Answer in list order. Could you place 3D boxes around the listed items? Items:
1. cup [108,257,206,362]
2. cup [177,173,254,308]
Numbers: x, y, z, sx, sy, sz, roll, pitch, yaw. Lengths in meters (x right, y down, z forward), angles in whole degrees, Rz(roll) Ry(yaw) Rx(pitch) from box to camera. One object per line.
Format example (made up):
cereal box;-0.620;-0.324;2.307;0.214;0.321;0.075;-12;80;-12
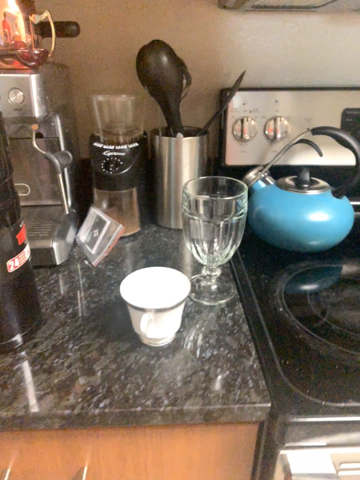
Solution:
cup;-0.023;0.083;0.478;0.100;0.070;0.111;4;27;8
cup;0.054;-0.002;0.574;0.100;0.169;0.111;4;27;8
